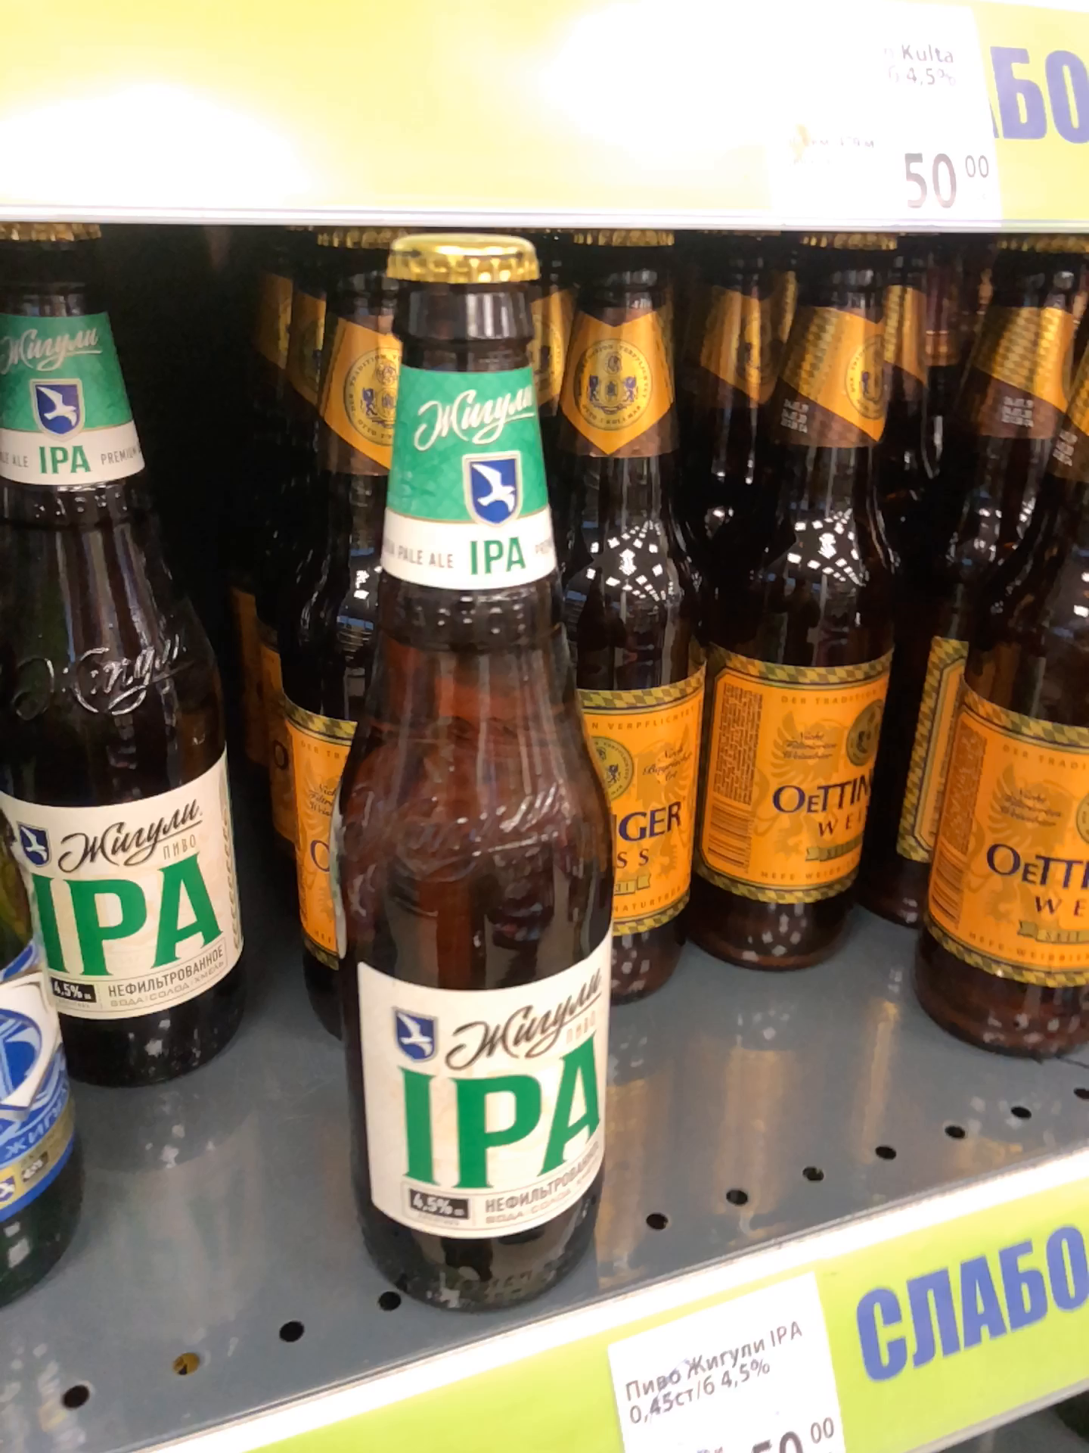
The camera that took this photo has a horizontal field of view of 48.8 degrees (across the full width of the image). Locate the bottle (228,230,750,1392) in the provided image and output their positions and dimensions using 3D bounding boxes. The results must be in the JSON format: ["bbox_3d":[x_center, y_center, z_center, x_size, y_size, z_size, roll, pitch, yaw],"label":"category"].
[{"bbox_3d":[-0.019,0.026,0.281,0.080,0.258,0.070,-7,27,-20],"label":"bottle"}]
